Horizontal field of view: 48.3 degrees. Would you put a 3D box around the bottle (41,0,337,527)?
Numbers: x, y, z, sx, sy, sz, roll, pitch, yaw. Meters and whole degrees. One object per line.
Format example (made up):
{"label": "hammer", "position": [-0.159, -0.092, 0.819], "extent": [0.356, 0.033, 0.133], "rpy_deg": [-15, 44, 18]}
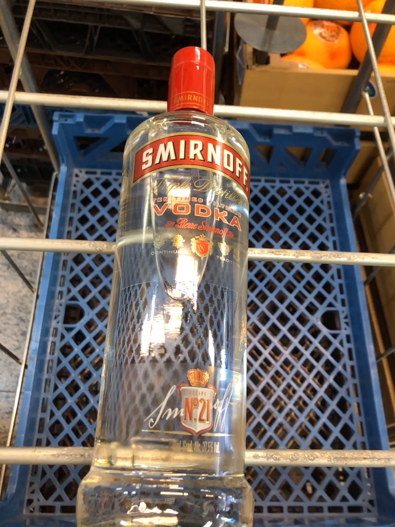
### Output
{"label": "bottle", "position": [-0.003, -0.011, 0.258], "extent": [0.100, 0.100, 0.311], "rpy_deg": [3, 65, -4]}
